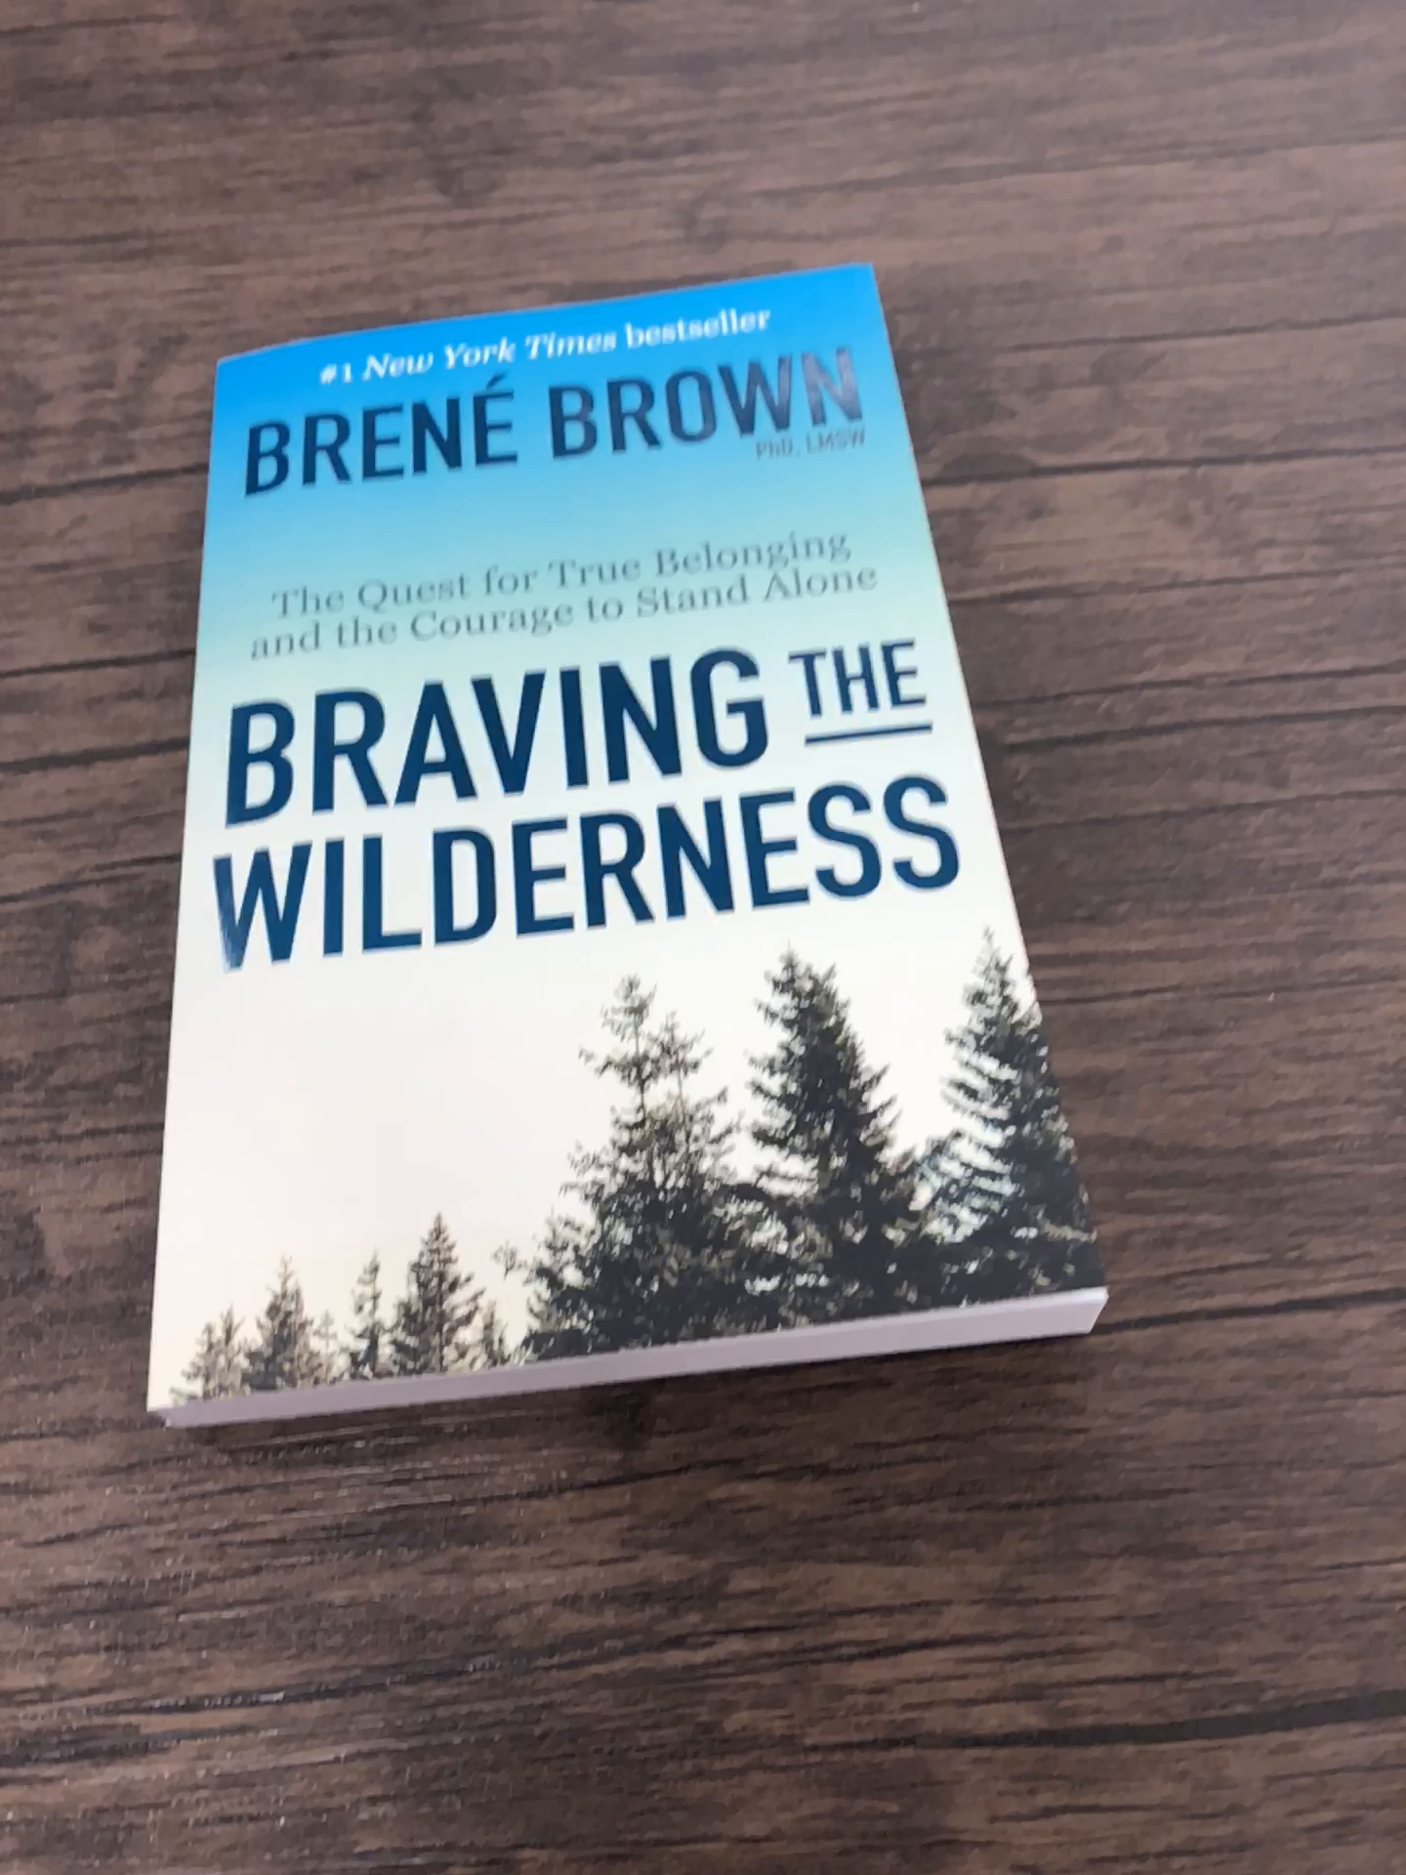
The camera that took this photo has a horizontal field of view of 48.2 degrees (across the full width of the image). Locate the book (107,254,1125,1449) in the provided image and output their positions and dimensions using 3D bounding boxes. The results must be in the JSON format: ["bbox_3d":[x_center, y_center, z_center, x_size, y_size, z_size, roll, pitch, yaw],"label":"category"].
[{"bbox_3d":[-0.021,-0.027,0.252,0.130,0.021,0.192,-7,63,1],"label":"book"}]
